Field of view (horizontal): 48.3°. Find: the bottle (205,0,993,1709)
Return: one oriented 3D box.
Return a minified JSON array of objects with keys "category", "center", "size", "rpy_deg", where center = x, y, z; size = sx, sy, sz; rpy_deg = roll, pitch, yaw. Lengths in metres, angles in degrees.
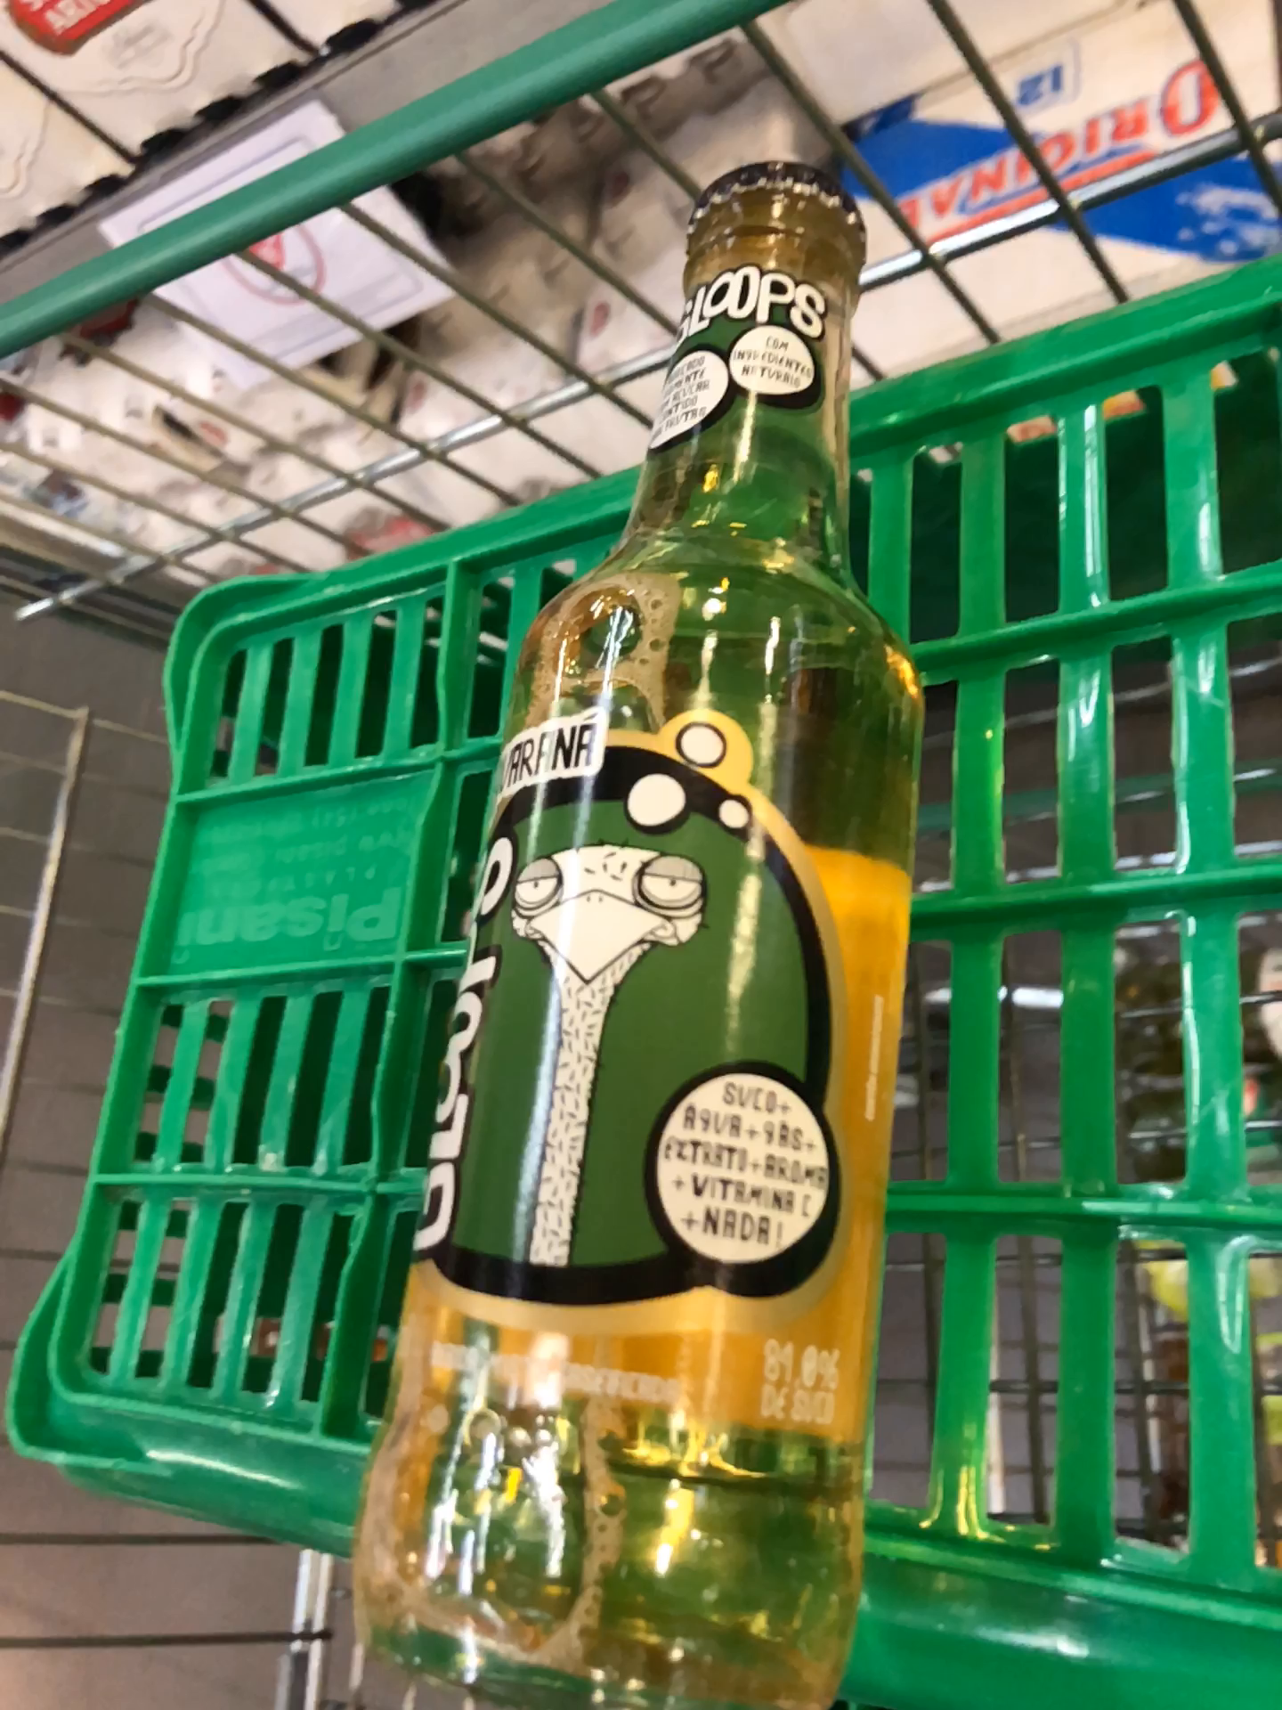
[{"category":"bottle","center":[0.004,-0.011,0.191],"size":[0.060,0.050,0.220],"rpy_deg":[-7,67,37]}]
